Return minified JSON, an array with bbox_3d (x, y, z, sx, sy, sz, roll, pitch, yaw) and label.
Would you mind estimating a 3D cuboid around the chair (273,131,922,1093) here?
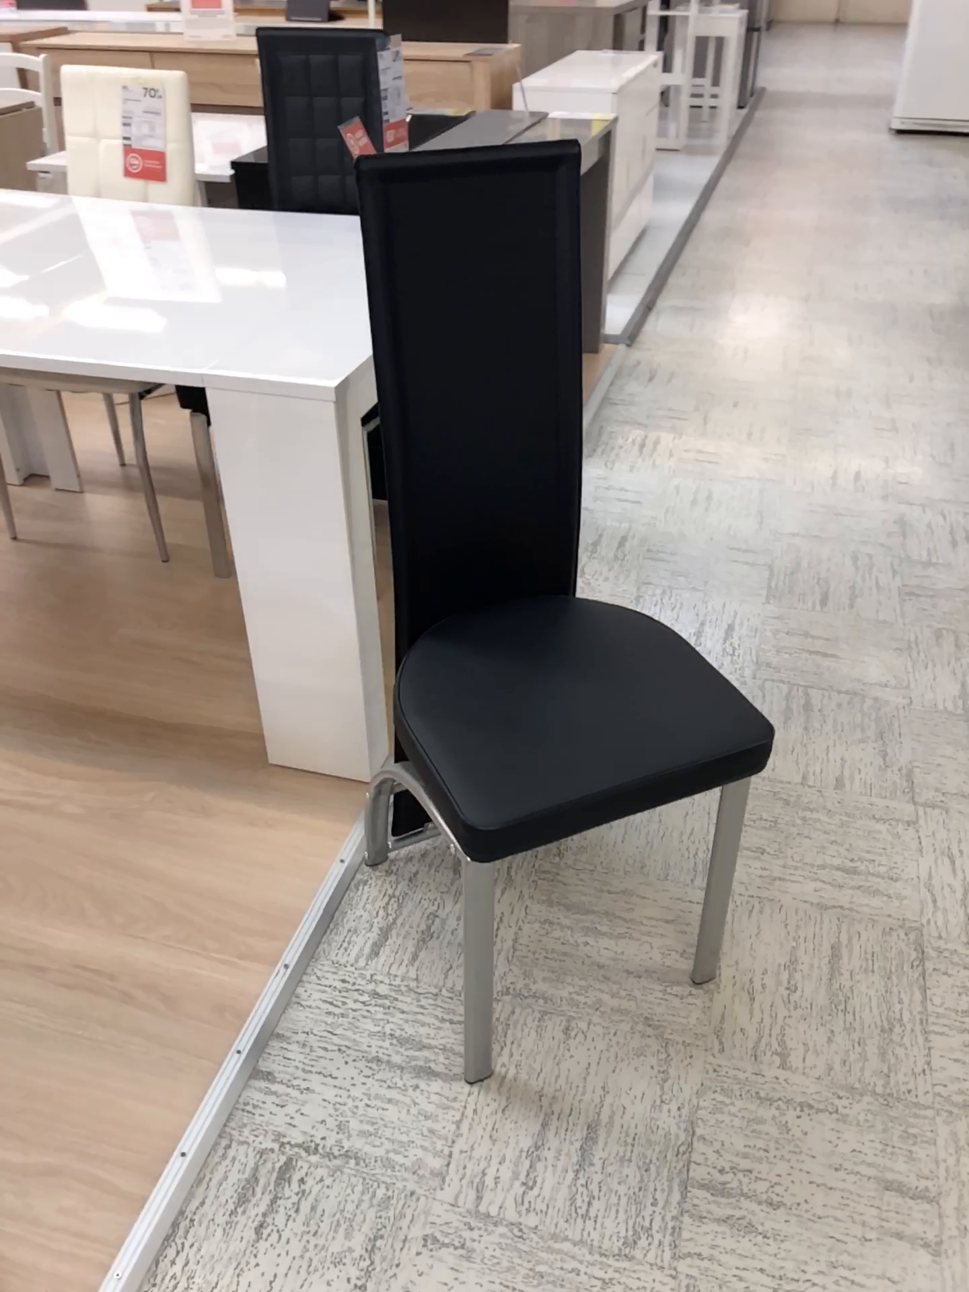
[{"bbox_3d":[0.083,-0.033,1.323,0.451,1.014,0.492,-15,37,-20],"label":"chair"}]
